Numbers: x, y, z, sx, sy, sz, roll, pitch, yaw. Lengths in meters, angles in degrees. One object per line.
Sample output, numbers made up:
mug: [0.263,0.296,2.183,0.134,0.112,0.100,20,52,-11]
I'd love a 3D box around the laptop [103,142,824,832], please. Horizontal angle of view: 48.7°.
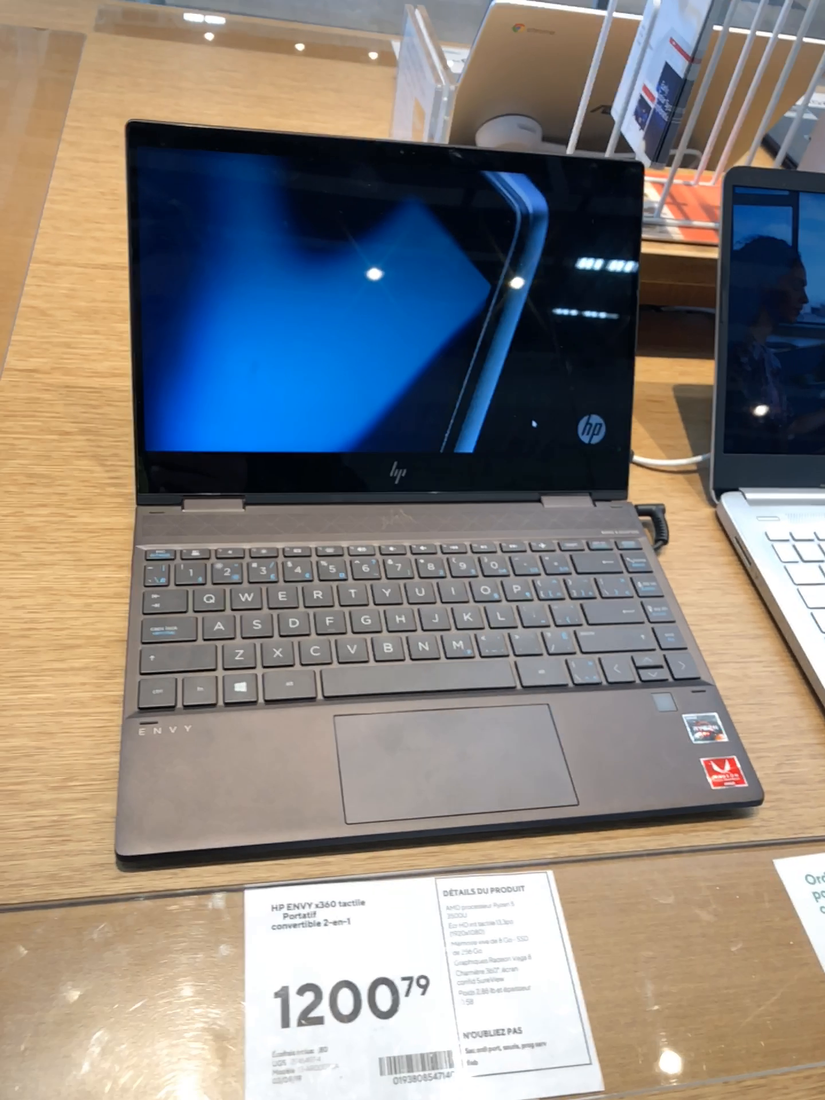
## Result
laptop: [0.012,-0.054,0.475,0.293,0.162,0.319,-1,46,-12]
